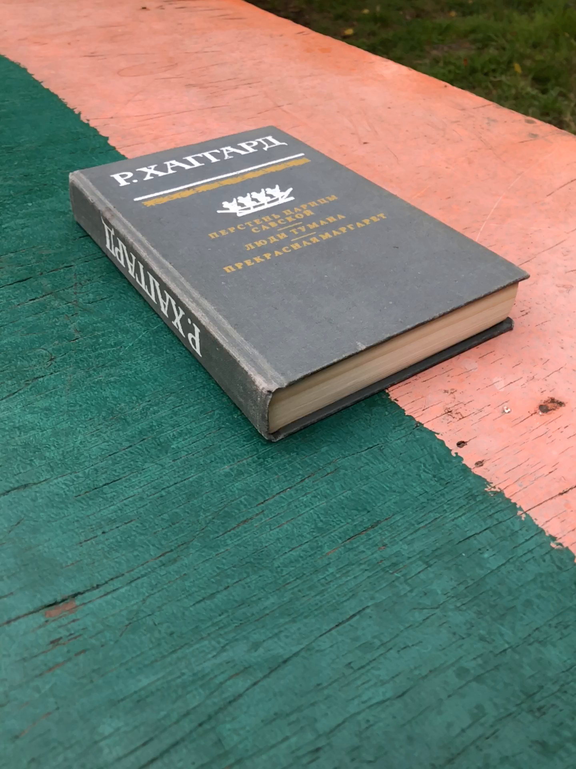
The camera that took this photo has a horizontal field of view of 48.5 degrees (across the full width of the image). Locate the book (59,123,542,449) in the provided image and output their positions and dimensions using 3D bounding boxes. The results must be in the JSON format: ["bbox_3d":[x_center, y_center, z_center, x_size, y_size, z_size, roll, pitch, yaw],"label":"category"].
[{"bbox_3d":[-0.008,-0.075,0.340,0.150,0.030,0.222,-24,47,-25],"label":"book"}]
